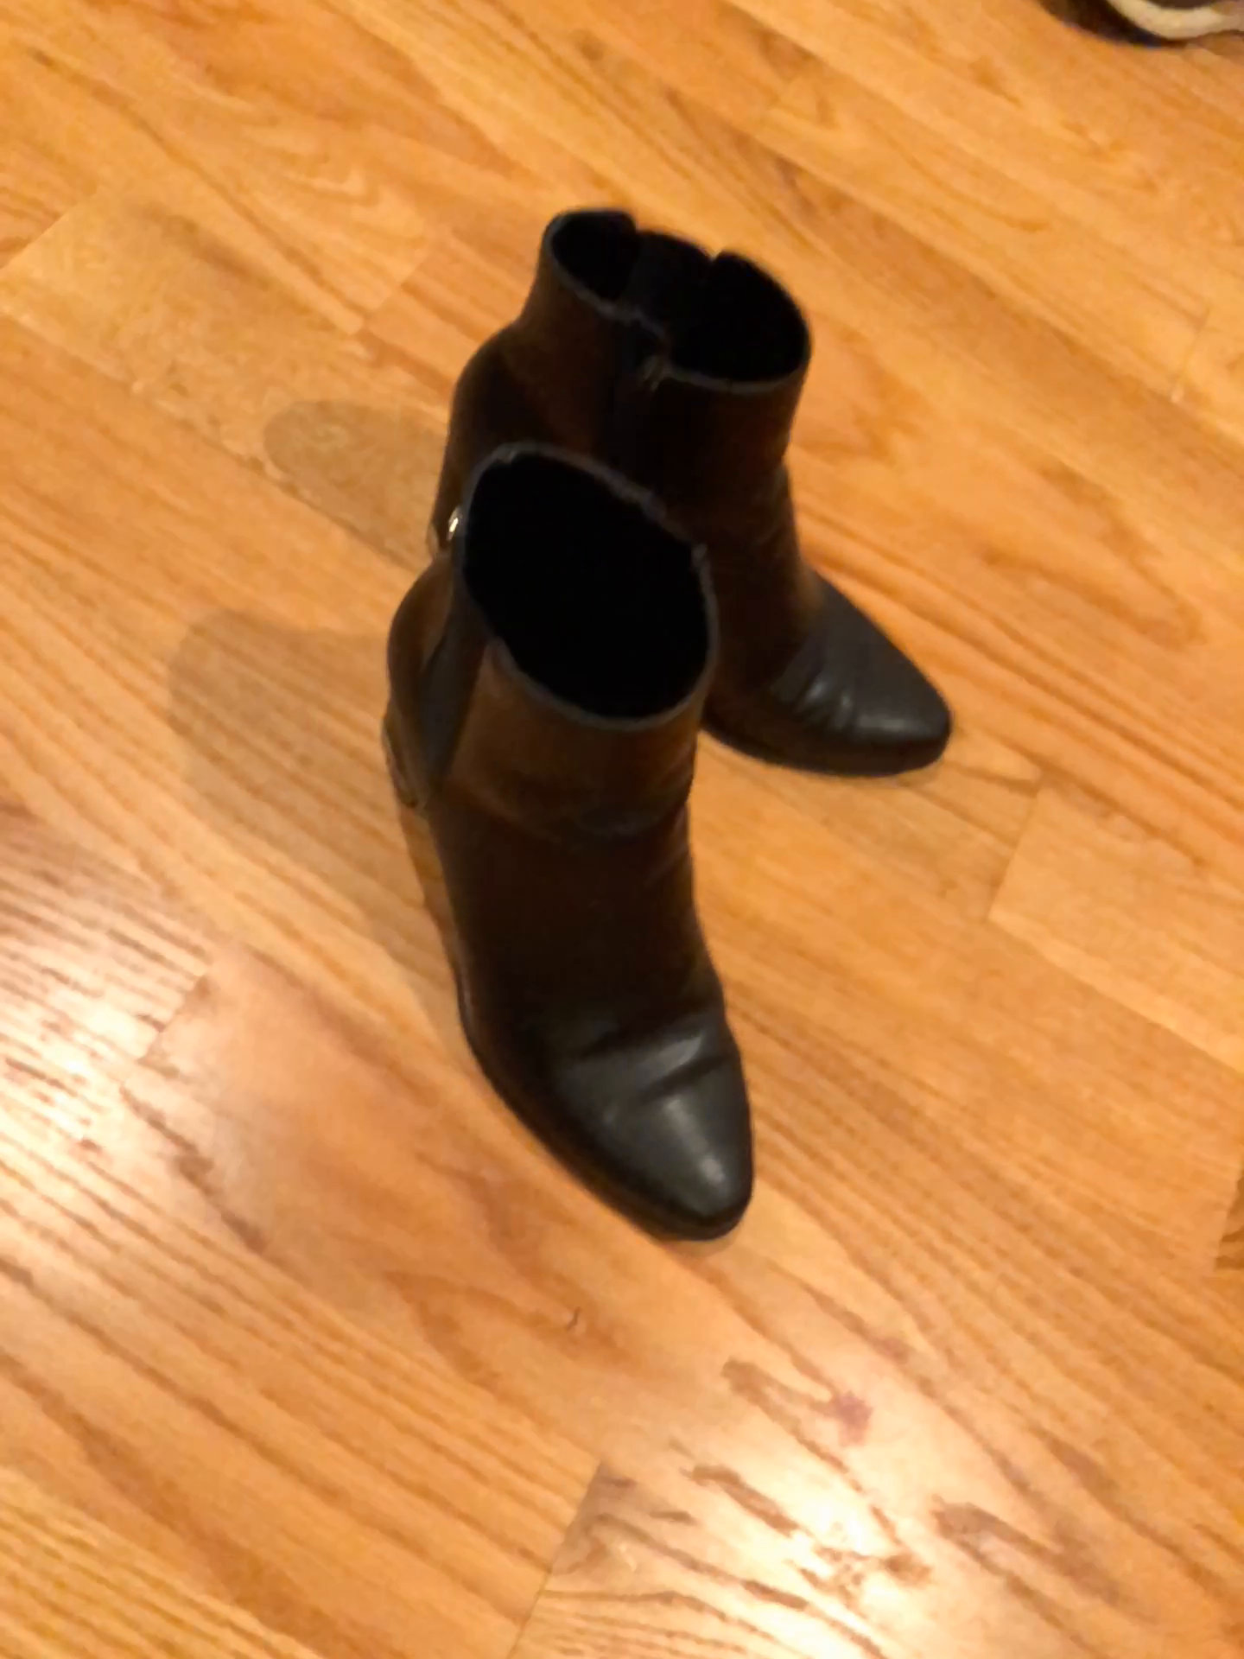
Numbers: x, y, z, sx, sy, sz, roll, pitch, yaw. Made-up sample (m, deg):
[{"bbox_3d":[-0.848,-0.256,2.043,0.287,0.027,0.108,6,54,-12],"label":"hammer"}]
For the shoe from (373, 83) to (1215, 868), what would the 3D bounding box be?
[{"bbox_3d":[0.047,-0.110,0.497,0.236,0.175,0.095,26,62,-3],"label":"shoe"}]

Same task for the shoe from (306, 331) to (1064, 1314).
[{"bbox_3d":[-0.006,0.007,0.427,0.095,0.175,0.237,-19,73,-23],"label":"shoe"}]
